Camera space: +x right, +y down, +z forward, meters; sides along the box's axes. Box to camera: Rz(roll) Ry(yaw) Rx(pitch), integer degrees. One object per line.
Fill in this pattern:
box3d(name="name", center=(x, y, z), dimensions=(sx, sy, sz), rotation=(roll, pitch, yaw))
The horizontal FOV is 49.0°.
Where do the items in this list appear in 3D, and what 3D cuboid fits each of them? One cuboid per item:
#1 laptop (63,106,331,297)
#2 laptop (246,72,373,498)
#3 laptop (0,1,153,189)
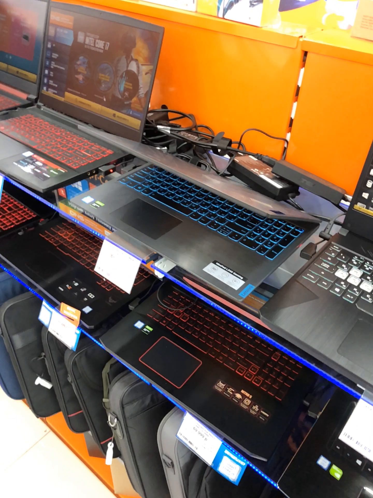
box3d(name="laptop", center=(0.010, -0.108, 0.676), dimensions=(0.348, 0.117, 0.241), rotation=(28, 44, 30))
box3d(name="laptop", center=(0.324, 0.002, 0.443), dimensions=(0.384, 0.250, 0.278), rotation=(30, 44, 30))
box3d(name="laptop", center=(-0.306, -0.353, 0.866), dimensions=(0.349, 0.228, 0.326), rotation=(29, 44, 27))
